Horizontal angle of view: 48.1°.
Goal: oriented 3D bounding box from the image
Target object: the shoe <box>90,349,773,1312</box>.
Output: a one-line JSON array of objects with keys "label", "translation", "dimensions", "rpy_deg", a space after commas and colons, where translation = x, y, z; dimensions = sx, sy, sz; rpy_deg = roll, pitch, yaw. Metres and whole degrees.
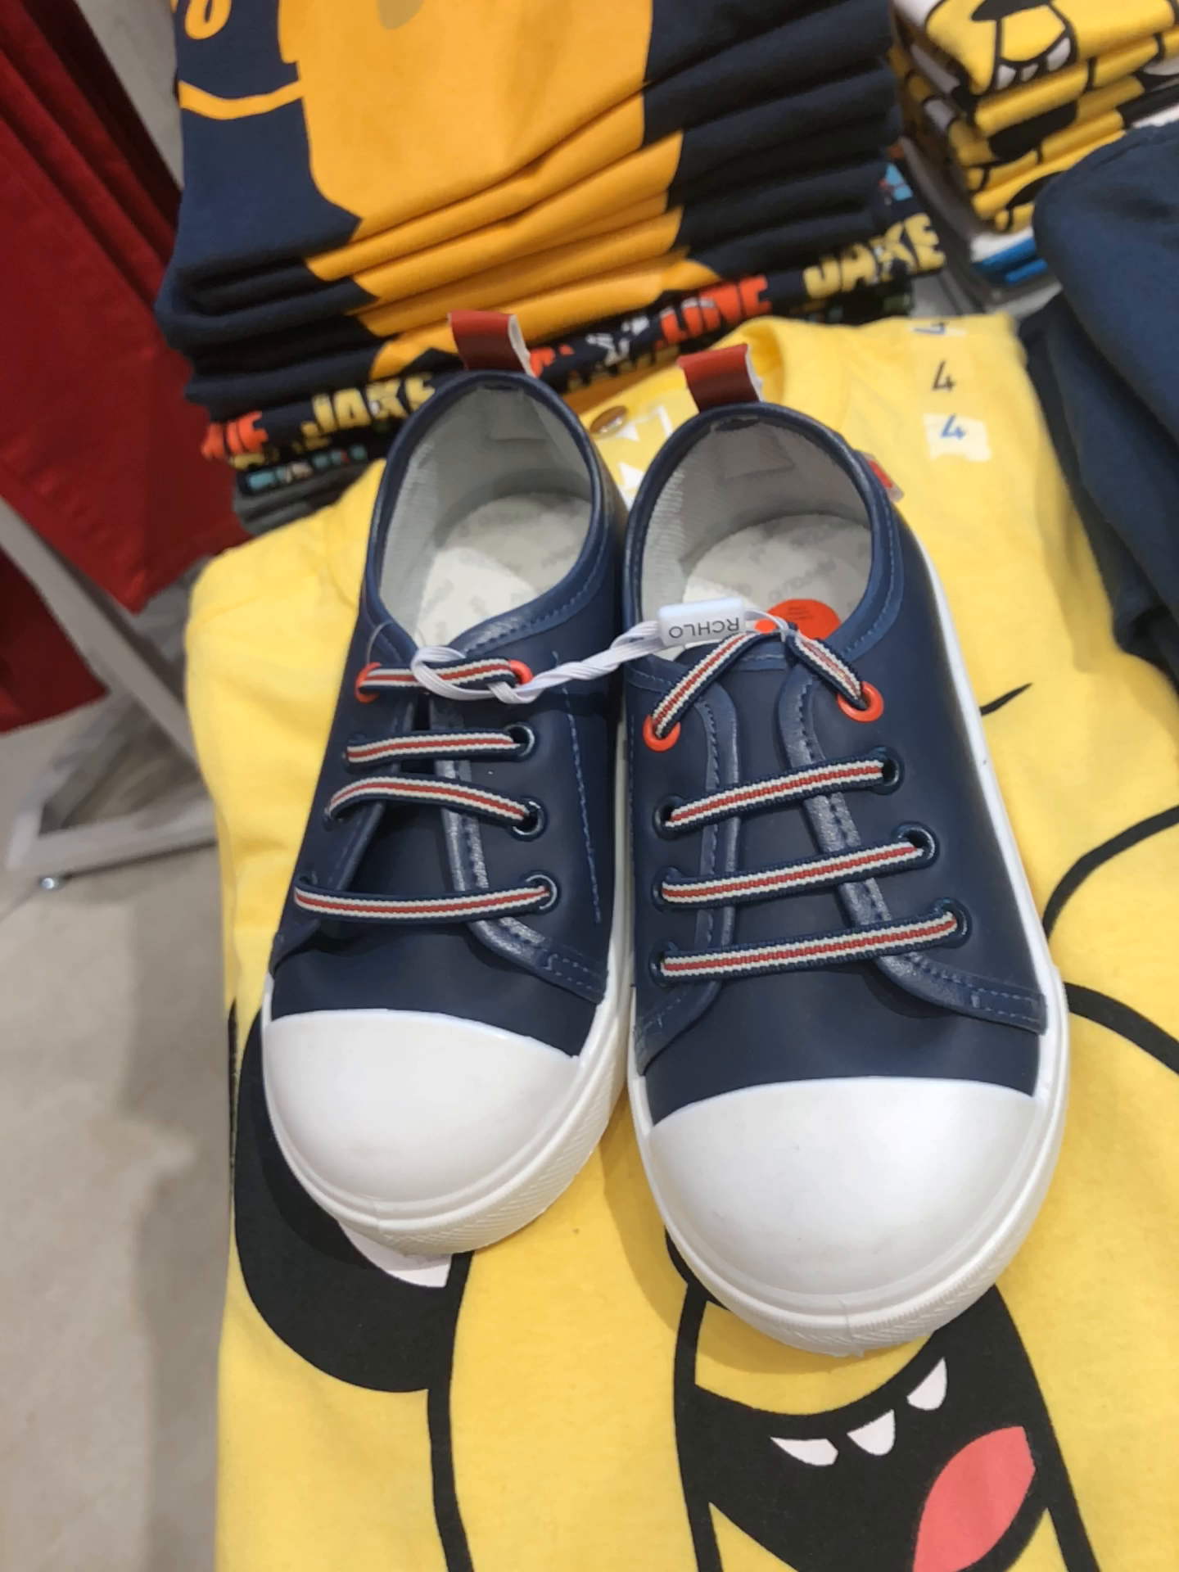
[{"label": "shoe", "translation": [-0.018, 0.007, 0.252], "dimensions": [0.080, 0.070, 0.161], "rpy_deg": [1, 66, 19]}]

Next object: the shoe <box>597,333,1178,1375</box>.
[{"label": "shoe", "translation": [0.051, 0.014, 0.243], "dimensions": [0.080, 0.070, 0.171], "rpy_deg": [-7, 63, 13]}]
